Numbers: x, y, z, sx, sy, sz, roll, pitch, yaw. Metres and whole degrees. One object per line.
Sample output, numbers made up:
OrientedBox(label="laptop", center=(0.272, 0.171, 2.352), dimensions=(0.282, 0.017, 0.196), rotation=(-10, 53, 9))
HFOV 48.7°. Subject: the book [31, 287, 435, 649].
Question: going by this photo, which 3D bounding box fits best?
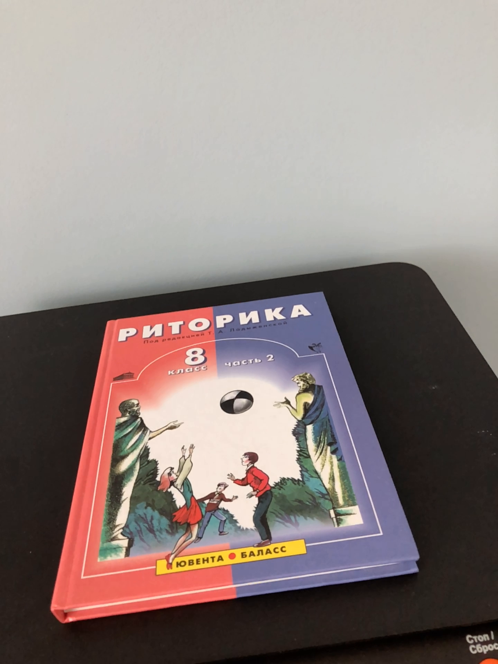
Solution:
OrientedBox(label="book", center=(-0.015, 0.053, 0.323), dimensions=(0.170, 0.020, 0.221), rotation=(-8, 38, -1))
